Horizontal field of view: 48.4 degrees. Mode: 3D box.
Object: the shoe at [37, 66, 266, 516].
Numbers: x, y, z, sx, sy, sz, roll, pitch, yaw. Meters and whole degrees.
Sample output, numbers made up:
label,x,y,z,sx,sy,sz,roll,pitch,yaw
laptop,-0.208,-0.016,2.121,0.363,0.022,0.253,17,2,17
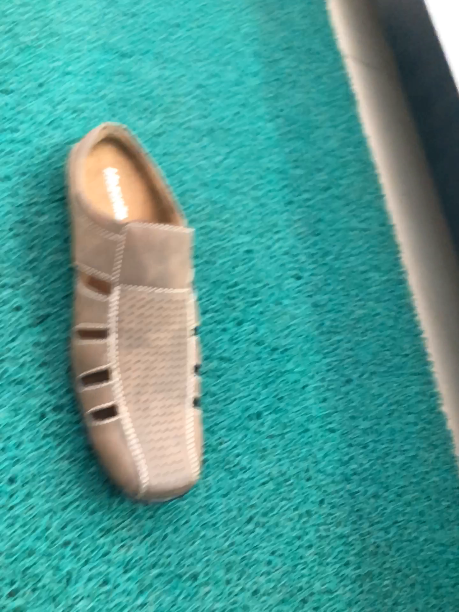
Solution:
label,x,y,z,sx,sy,sz,roll,pitch,yaw
shoe,-0.065,-0.017,0.361,0.090,0.070,0.290,-1,69,-35
